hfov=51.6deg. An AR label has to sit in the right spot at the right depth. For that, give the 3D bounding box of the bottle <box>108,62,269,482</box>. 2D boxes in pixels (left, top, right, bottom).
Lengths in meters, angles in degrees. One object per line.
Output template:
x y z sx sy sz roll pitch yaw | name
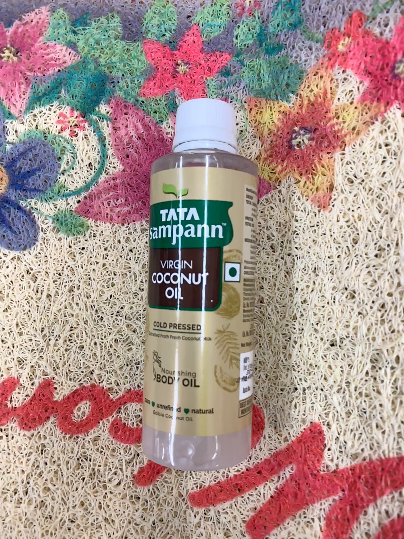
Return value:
-0.004 0.000 0.161 0.050 0.030 0.140 2 89 18 | bottle
